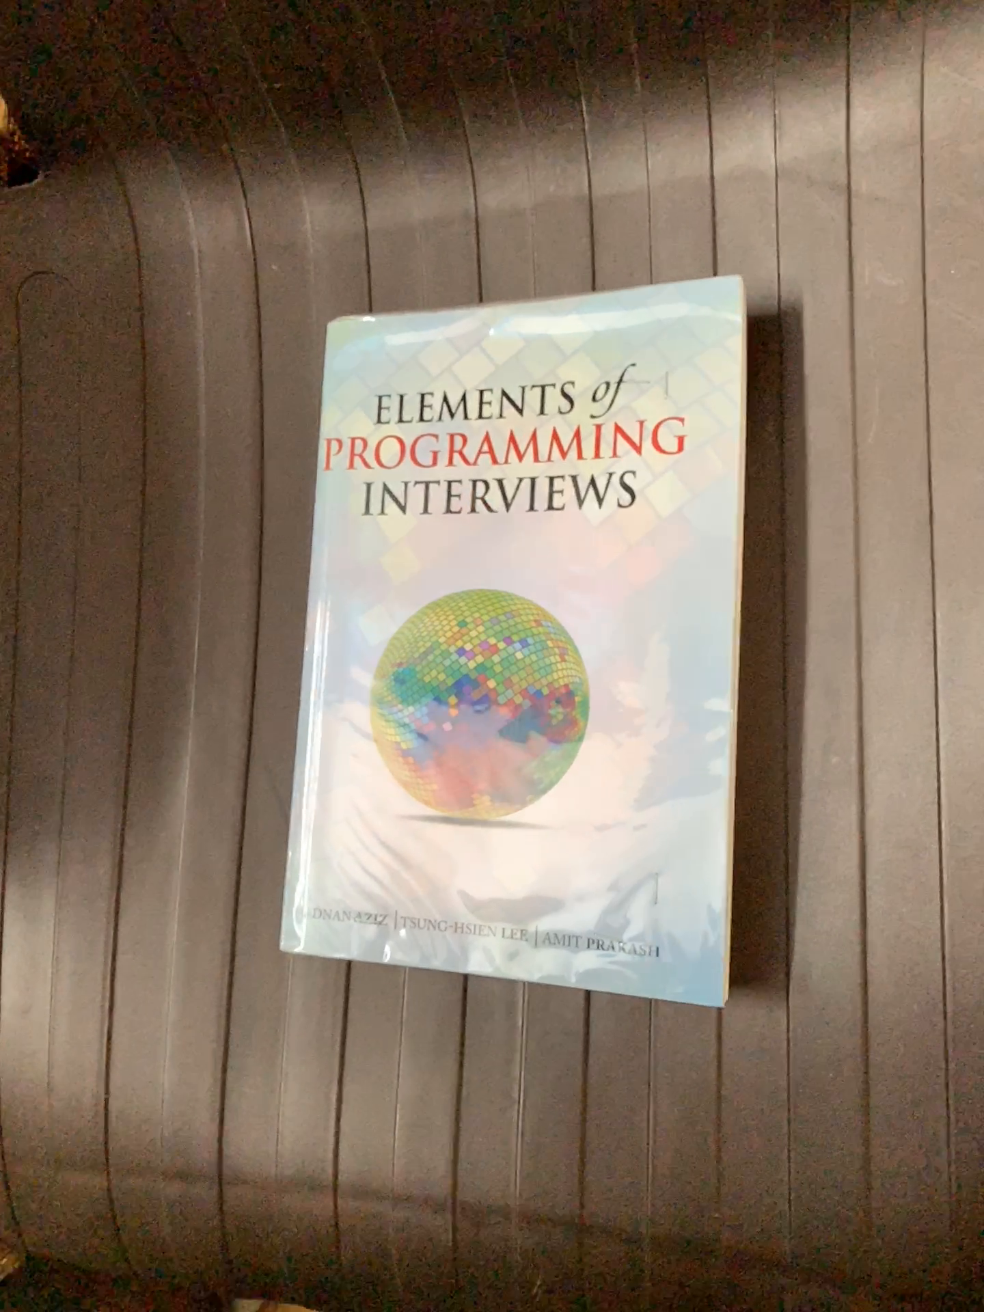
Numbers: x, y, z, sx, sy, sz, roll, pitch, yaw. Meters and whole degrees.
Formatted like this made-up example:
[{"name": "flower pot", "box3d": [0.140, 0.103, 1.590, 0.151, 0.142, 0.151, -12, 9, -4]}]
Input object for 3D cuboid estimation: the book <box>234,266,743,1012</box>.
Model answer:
[{"name": "book", "box3d": [0.001, -0.008, 0.360, 0.160, 0.050, 0.230, 1, 84, 19]}]
